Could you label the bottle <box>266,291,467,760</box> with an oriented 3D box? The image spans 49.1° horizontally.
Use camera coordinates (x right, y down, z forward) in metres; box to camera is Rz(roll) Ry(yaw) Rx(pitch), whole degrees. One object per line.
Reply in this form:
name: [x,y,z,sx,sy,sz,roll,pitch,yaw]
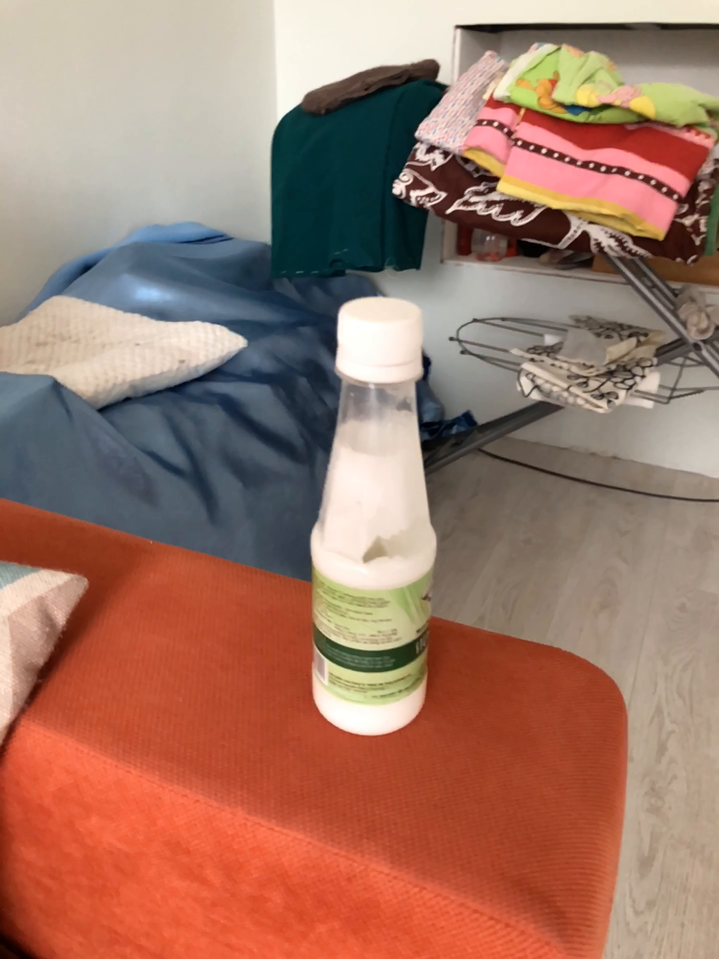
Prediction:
bottle: [0.004,0.021,0.323,0.060,0.179,0.060,0,27,0]
